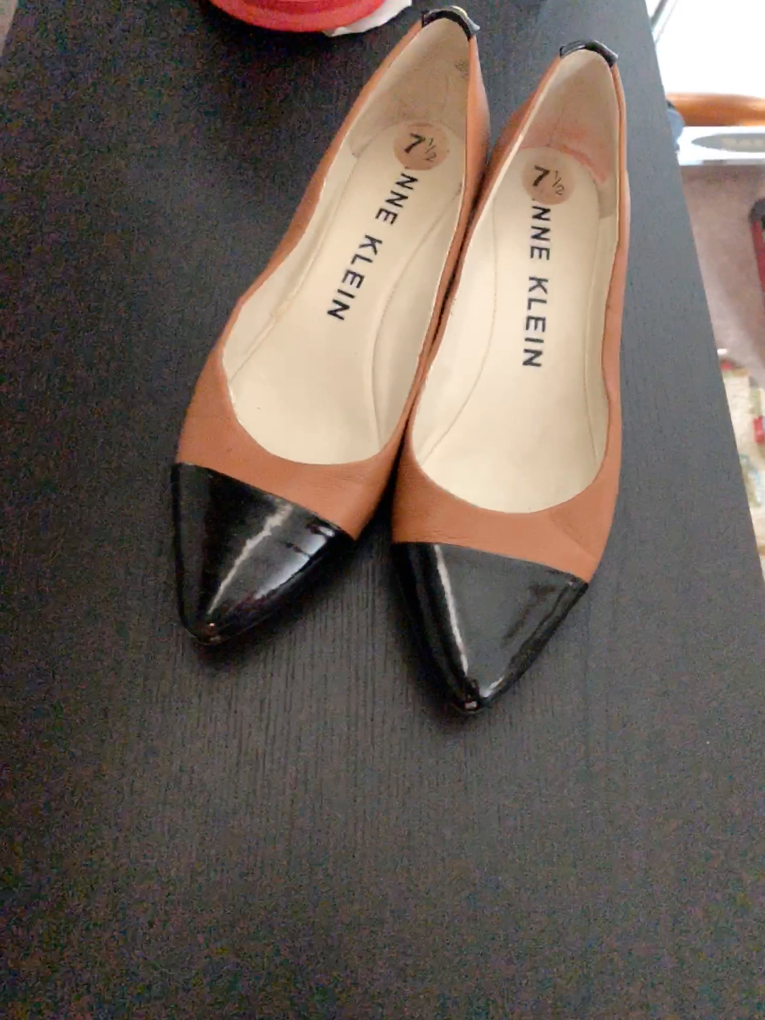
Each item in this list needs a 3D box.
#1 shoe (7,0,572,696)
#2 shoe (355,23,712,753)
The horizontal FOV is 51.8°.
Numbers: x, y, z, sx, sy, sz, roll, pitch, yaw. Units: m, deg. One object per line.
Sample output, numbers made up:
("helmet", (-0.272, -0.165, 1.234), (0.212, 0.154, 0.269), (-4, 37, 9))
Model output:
("shoe", (-0.016, -0.076, 0.301), (0.092, 0.080, 0.261), (20, 65, 6))
("shoe", (0.061, -0.053, 0.309), (0.092, 0.099, 0.261), (11, 65, 1))
